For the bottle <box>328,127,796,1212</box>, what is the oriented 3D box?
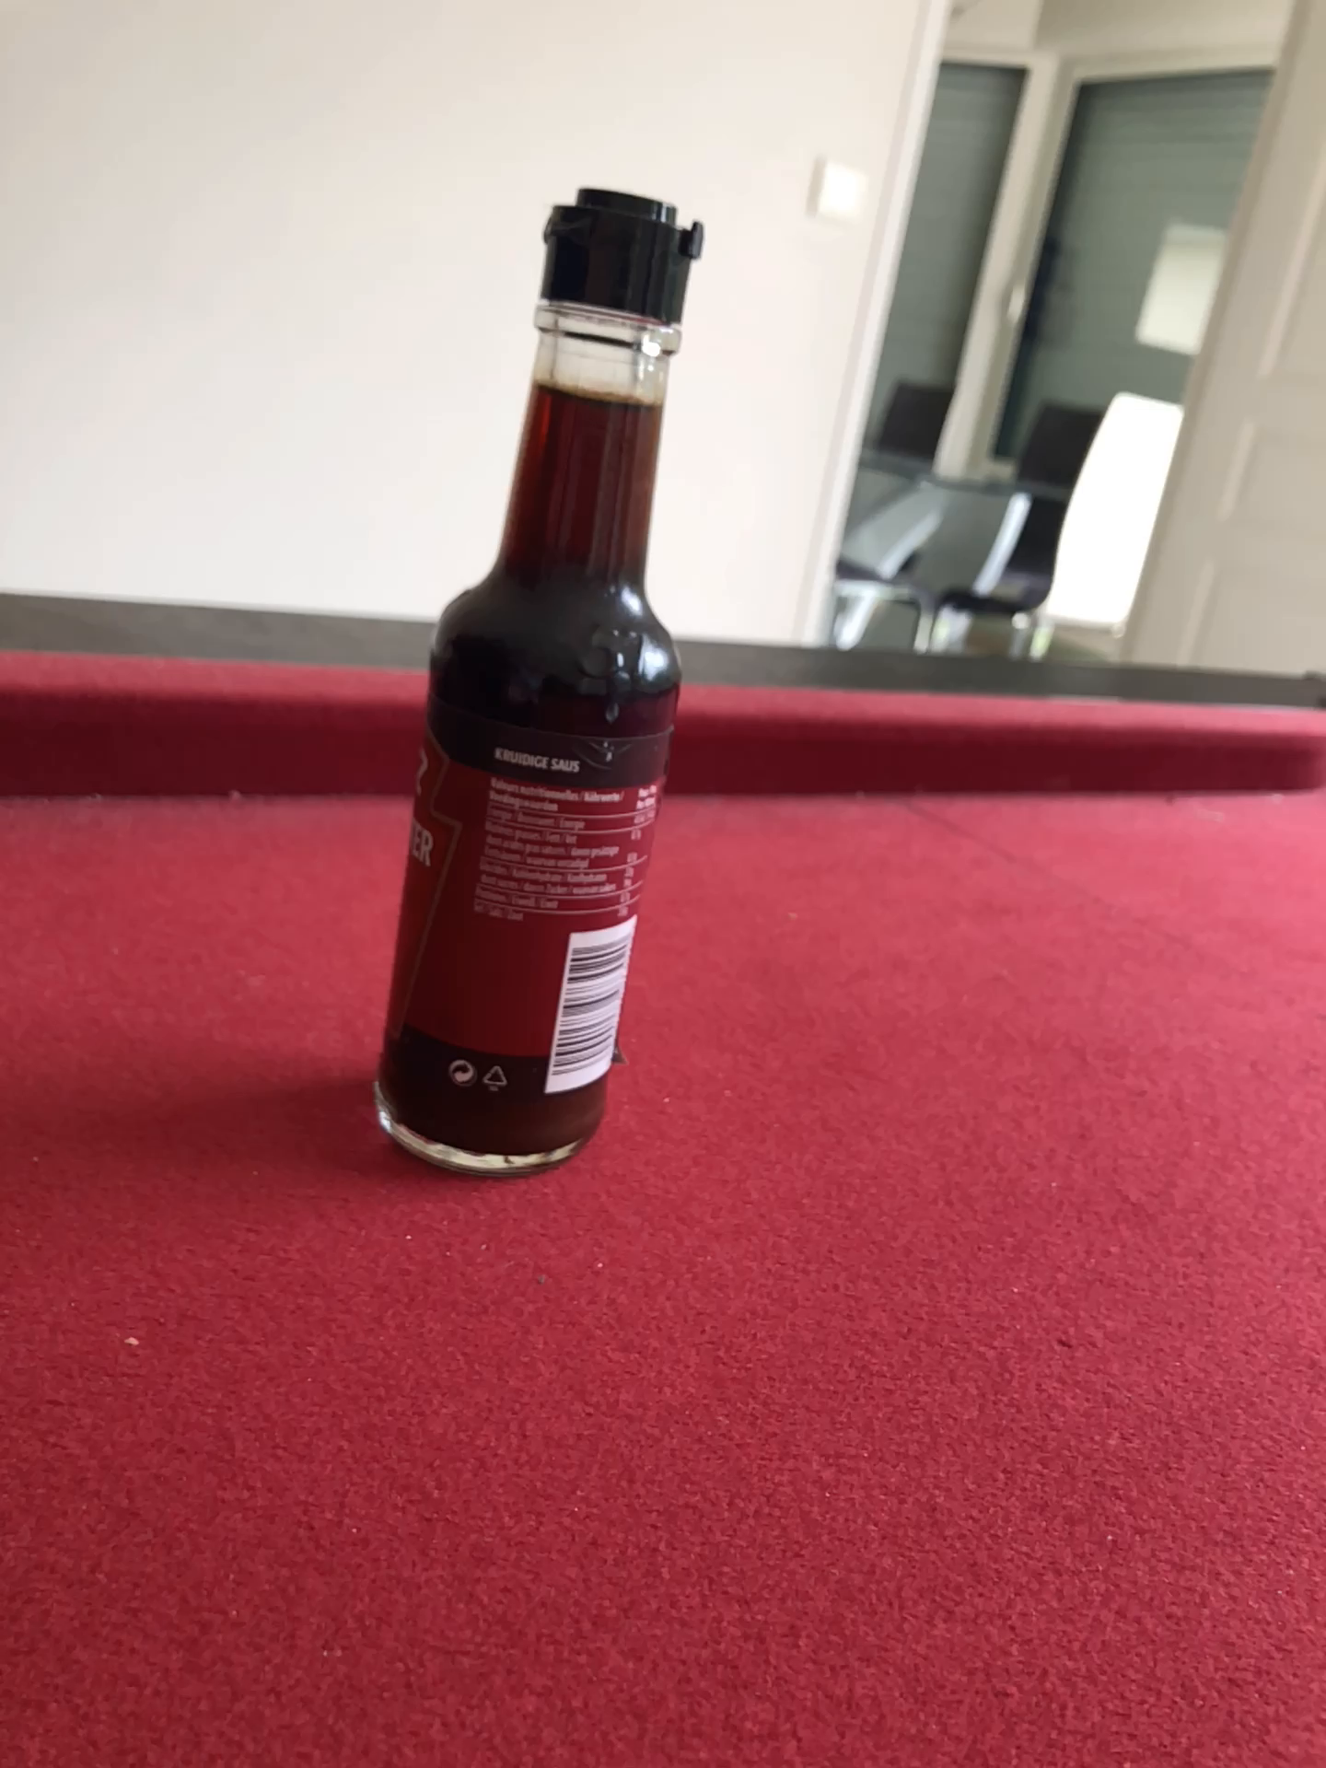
[{"bbox_3d":[-0.020,-0.035,0.278,0.050,0.179,0.050,10,17,-3],"label":"bottle"}]
